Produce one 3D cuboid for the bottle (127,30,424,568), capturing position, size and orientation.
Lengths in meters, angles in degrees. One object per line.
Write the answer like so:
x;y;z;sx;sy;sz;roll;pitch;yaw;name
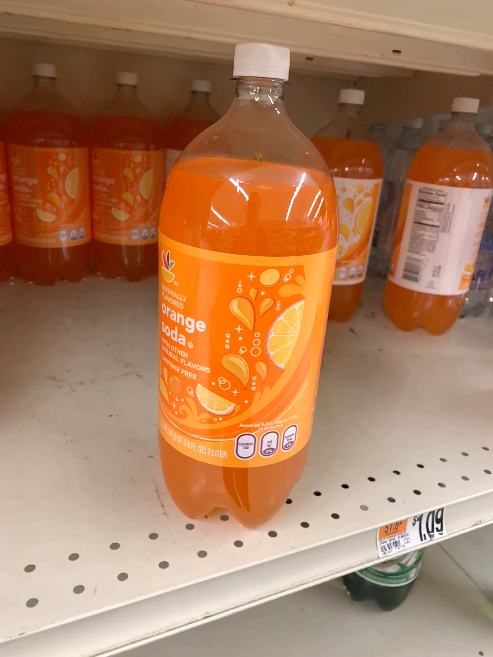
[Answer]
0.007;-0.018;0.329;0.110;0.288;0.120;5;24;-2;bottle
